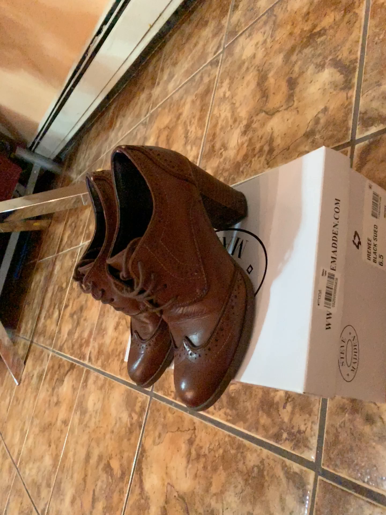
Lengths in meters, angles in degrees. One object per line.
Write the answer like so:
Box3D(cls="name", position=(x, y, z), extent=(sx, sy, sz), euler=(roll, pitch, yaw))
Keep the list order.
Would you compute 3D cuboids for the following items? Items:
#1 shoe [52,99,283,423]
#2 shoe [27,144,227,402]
Box3D(cls="shoe", position=(-0.013, 0.010, 0.349), extent=(0.096, 0.136, 0.228), euler=(-19, 56, 54))
Box3D(cls="shoe", position=(-0.069, 0.021, 0.435), extent=(0.096, 0.136, 0.228), euler=(-8, 65, 58))
